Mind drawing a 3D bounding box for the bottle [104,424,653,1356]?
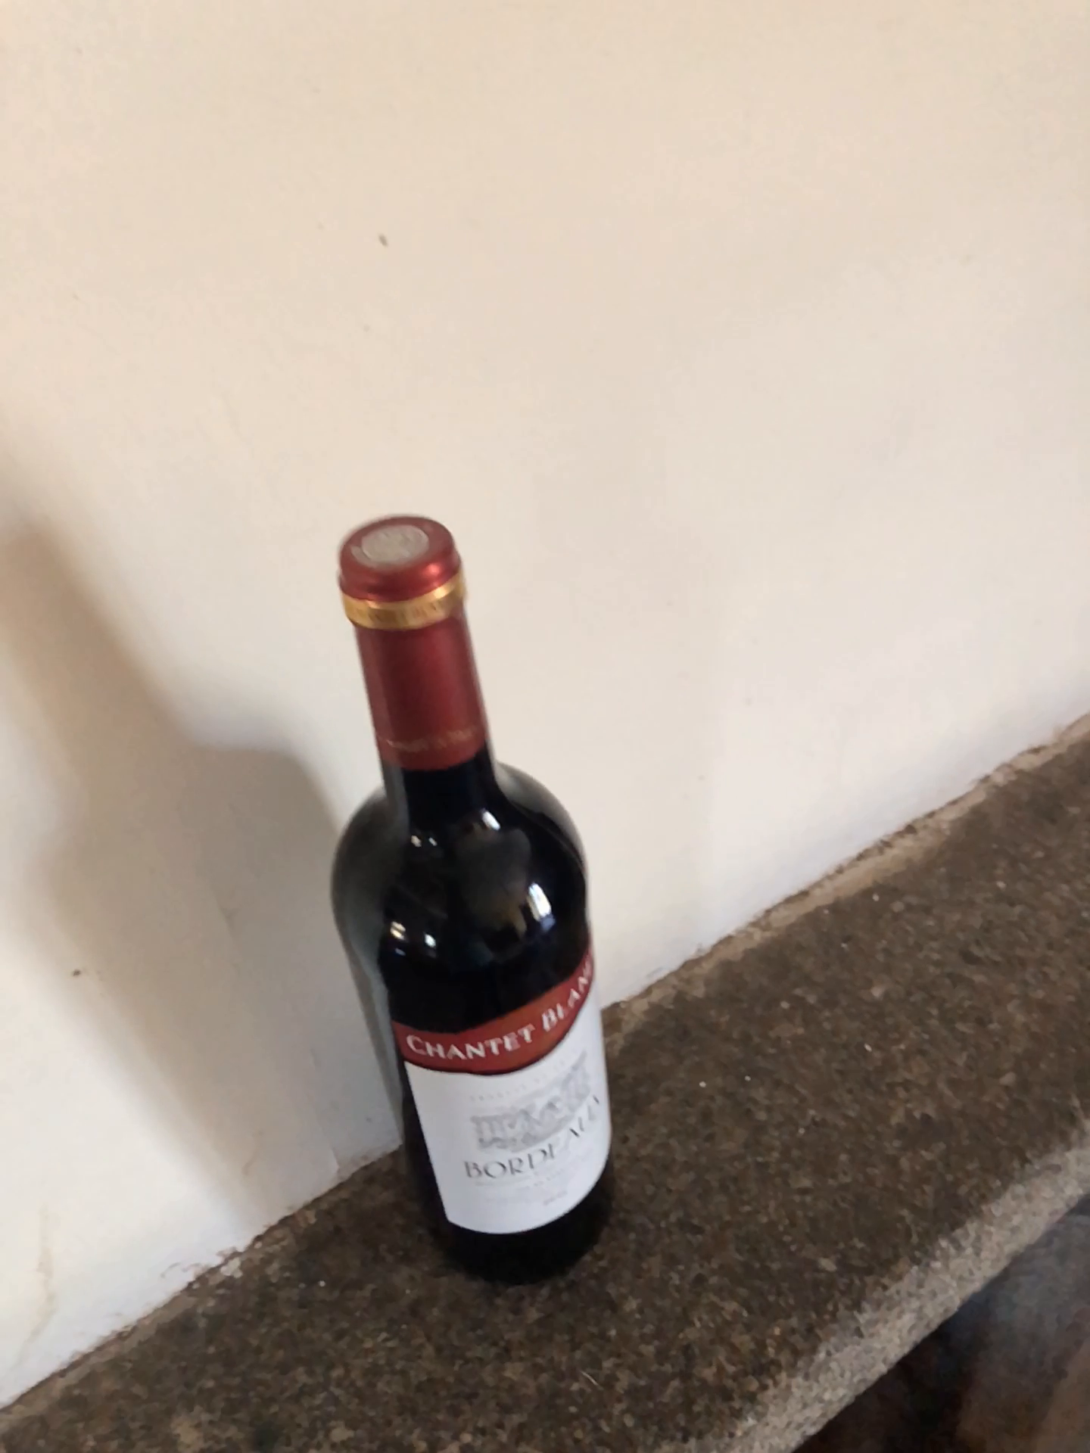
[{"bbox_3d":[-0.031,0.069,0.360,0.080,0.288,0.080,-4,41,4],"label":"bottle"}]
